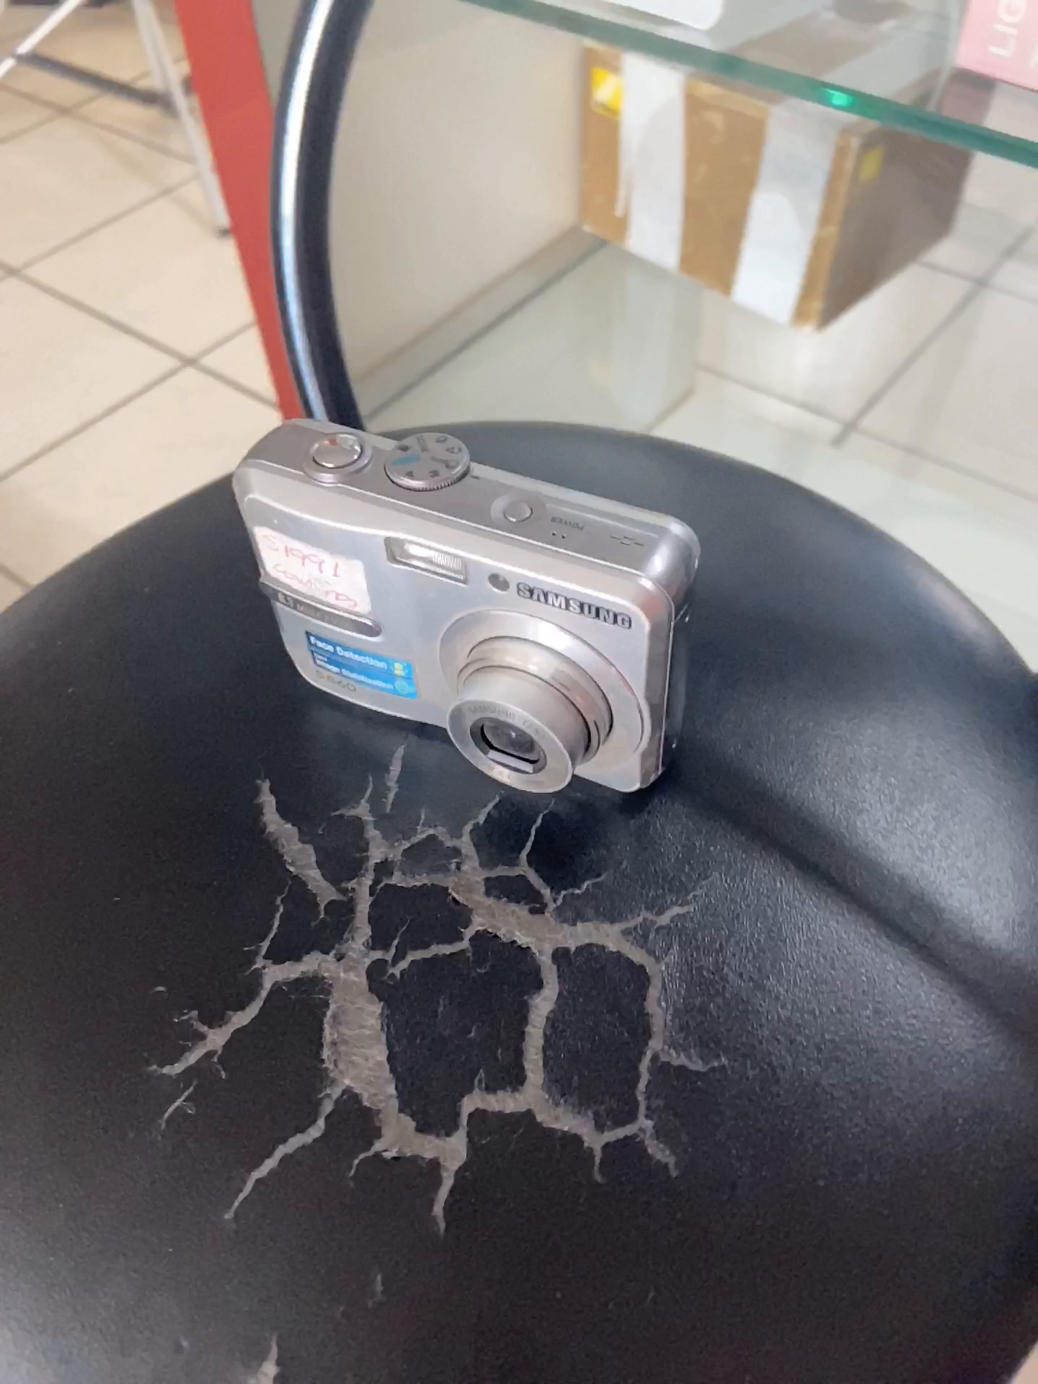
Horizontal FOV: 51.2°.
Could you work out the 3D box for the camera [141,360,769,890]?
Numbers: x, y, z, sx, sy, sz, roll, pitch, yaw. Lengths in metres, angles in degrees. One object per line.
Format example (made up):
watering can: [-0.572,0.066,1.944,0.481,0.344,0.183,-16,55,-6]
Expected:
camera: [-0.011,-0.015,0.216,0.100,0.060,0.050,20,54,18]
